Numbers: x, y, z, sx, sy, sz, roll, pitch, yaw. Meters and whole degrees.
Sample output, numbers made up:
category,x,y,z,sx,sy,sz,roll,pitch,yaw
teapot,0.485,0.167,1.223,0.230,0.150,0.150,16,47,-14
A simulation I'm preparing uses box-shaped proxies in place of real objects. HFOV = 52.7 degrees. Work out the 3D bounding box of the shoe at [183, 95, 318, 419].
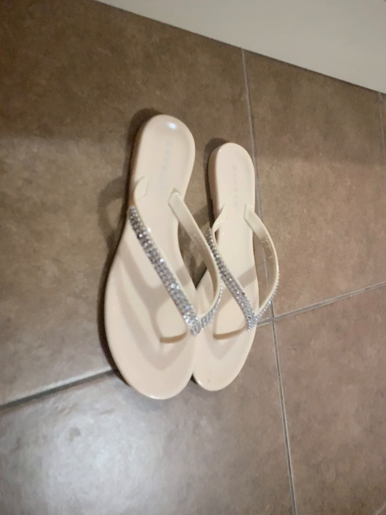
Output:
category,x,y,z,sx,sy,sz,roll,pitch,yaw
shoe,0.055,0.001,0.353,0.092,0.067,0.249,7,83,-38

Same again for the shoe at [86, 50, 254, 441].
category,x,y,z,sx,sy,sz,roll,pitch,yaw
shoe,-0.015,-0.007,0.301,0.093,0.067,0.249,7,83,-38
